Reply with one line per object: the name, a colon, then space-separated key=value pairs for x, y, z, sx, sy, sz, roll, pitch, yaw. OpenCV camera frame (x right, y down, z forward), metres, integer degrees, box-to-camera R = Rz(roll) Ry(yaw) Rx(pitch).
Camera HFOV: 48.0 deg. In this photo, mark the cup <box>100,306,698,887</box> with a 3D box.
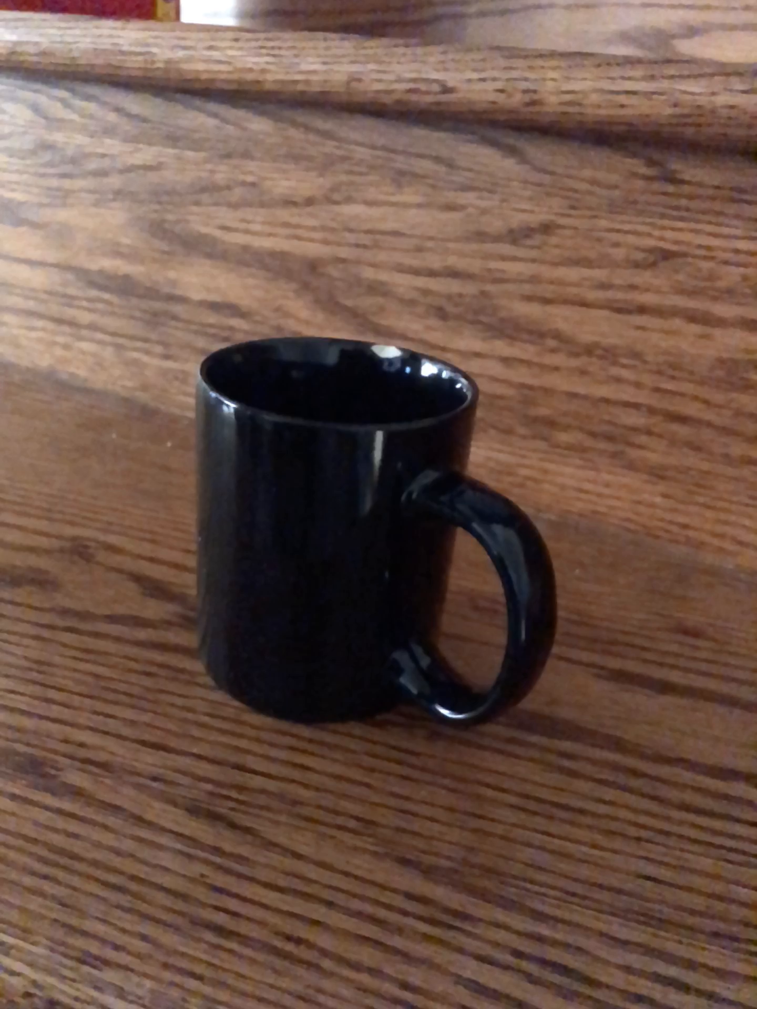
cup: x=-0.002 y=0.010 z=0.251 sx=0.136 sy=0.095 sz=0.092 roll=27 pitch=34 yaw=36
